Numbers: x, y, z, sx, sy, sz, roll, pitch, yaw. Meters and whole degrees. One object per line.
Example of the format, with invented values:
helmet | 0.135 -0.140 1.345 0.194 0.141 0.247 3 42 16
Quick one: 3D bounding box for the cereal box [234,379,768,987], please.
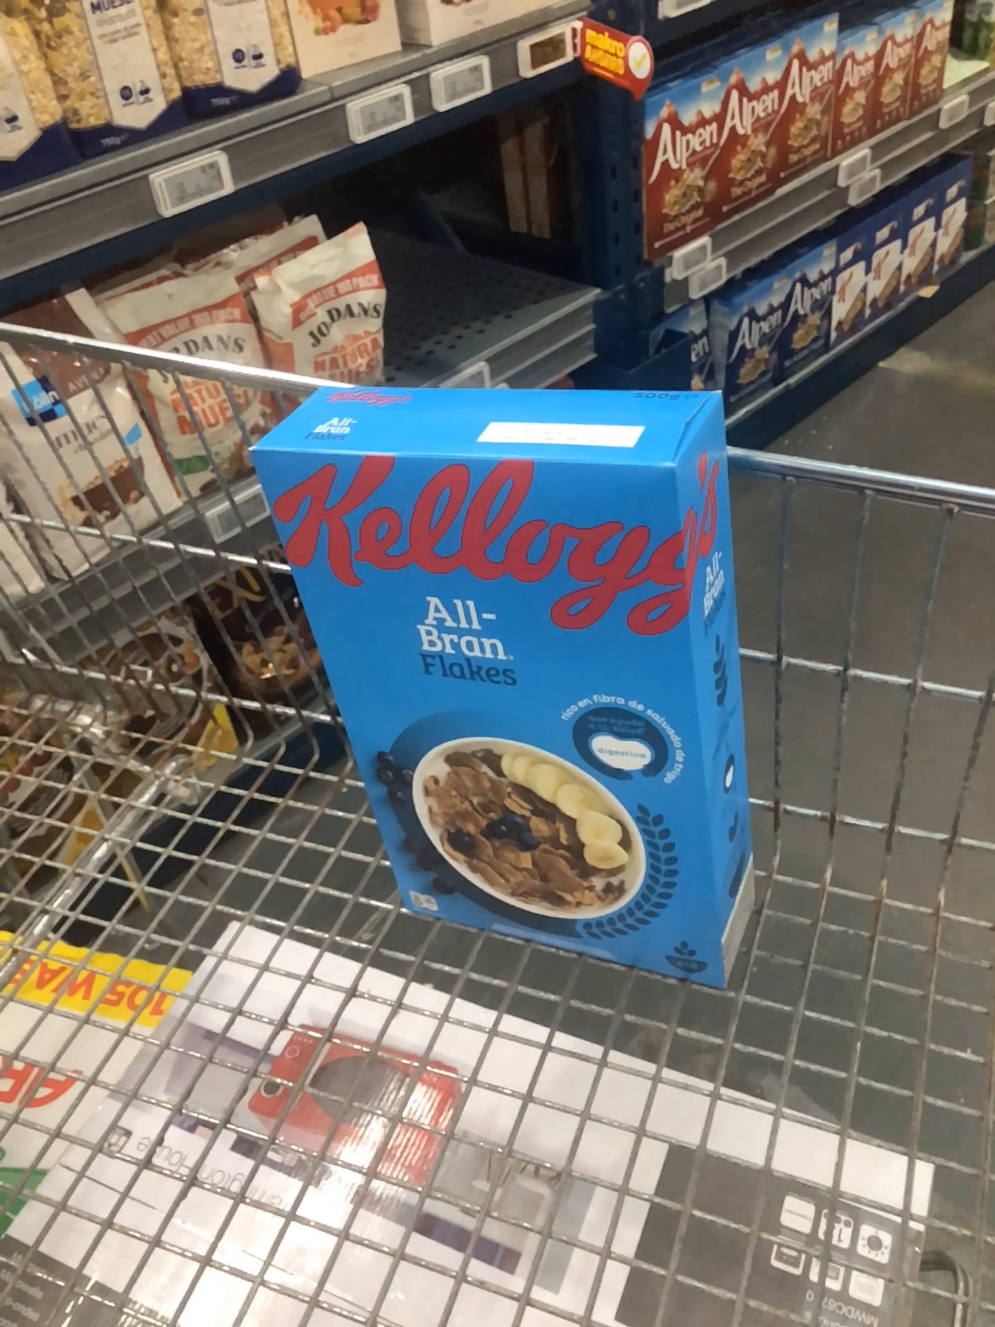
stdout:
cereal box | 0.018 0.012 0.517 0.200 0.269 0.080 7 39 22
